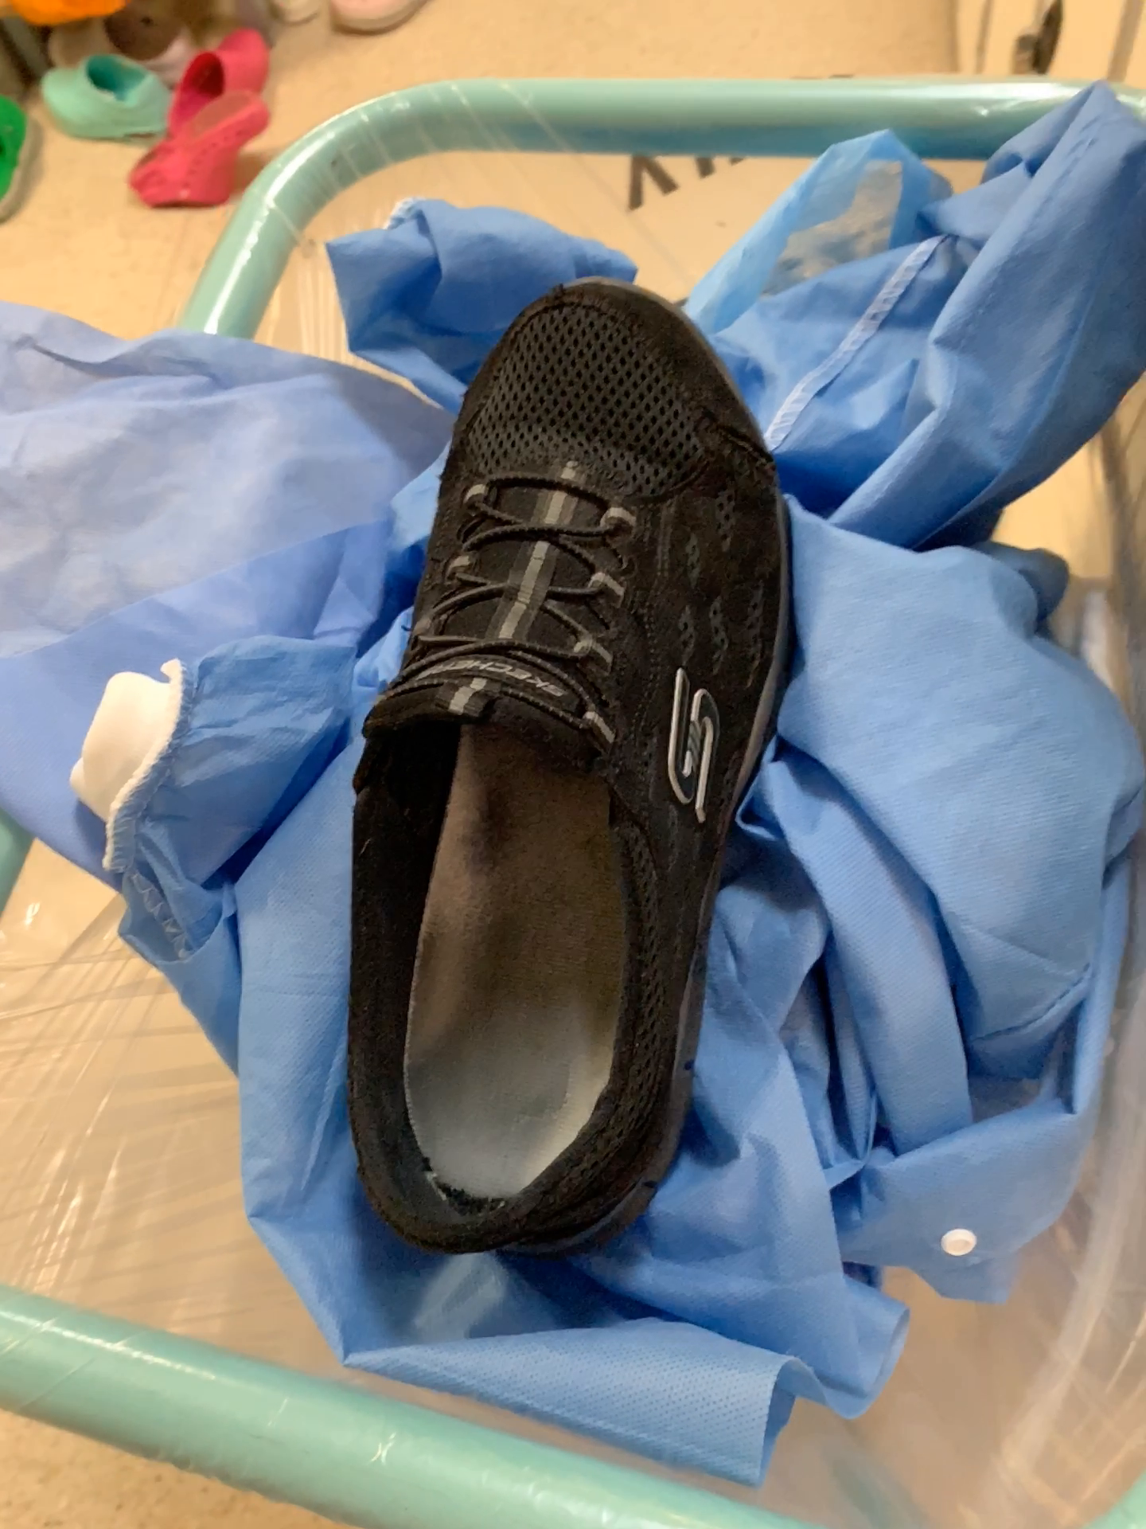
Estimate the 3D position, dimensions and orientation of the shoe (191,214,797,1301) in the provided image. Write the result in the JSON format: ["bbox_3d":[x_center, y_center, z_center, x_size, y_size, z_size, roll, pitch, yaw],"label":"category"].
[{"bbox_3d":[0.000,-0.009,0.306,0.088,0.094,0.255,6,68,13],"label":"shoe"}]
